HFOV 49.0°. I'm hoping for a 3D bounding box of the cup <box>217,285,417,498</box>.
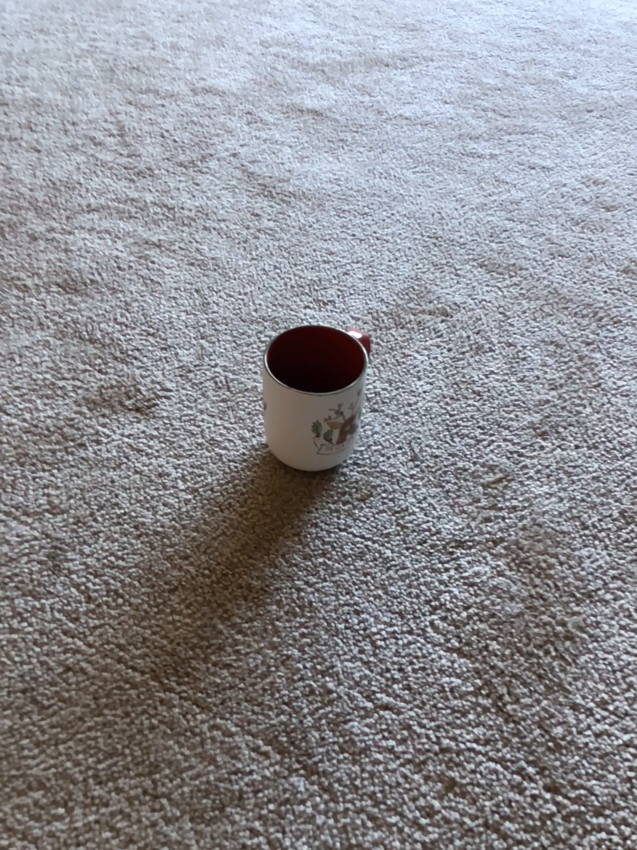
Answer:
[{"bbox_3d":[0.001,-0.033,0.607,0.100,0.090,0.140,30,54,23],"label":"cup"}]
